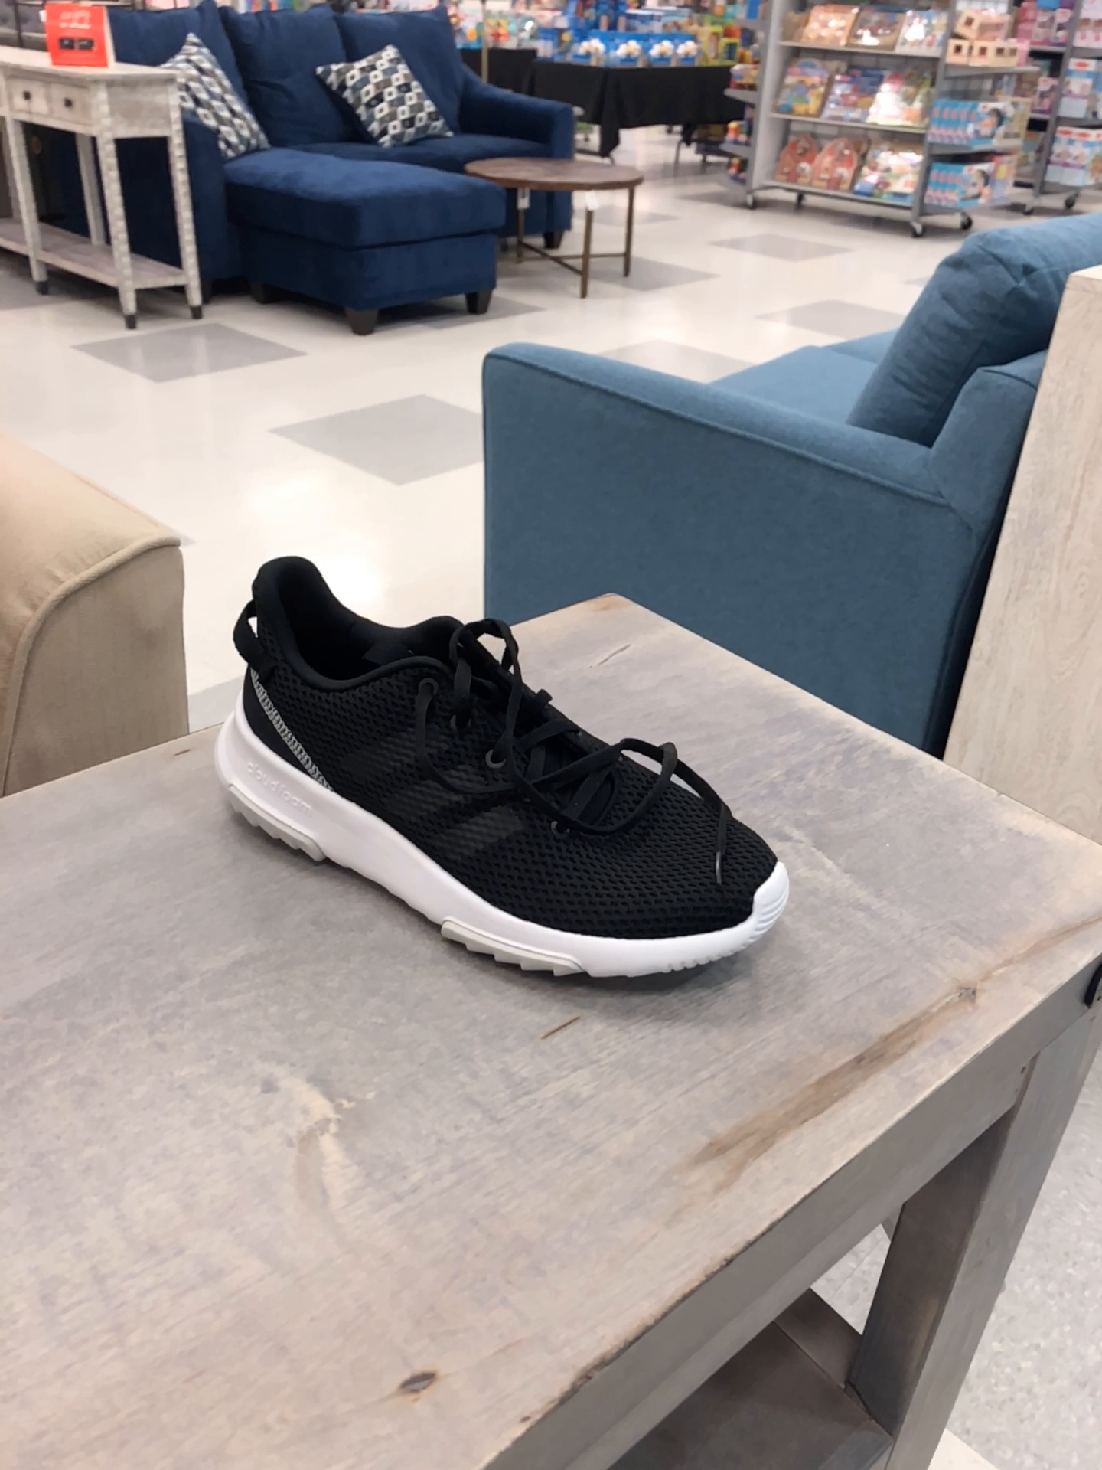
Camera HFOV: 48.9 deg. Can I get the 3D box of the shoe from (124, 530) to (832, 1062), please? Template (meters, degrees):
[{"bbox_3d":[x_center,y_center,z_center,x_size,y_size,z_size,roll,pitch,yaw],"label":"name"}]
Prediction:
[{"bbox_3d":[-0.038,0.010,0.543,0.283,0.109,0.120,20,35,26],"label":"shoe"}]
